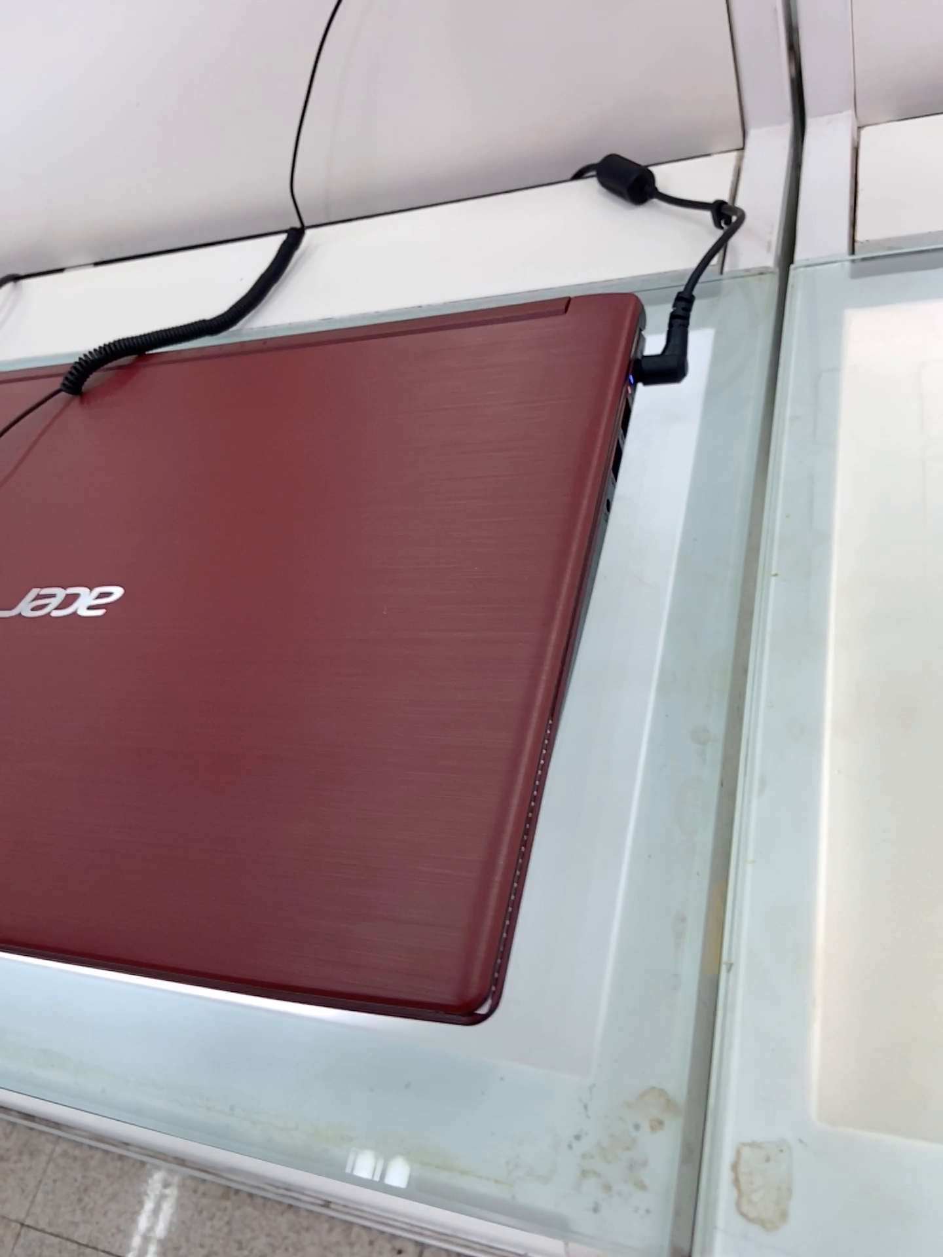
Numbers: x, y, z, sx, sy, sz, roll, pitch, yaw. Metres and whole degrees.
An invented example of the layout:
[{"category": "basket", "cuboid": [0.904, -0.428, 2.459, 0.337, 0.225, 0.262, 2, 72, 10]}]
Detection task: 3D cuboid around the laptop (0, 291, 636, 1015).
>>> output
[{"category": "laptop", "cuboid": [-0.140, -0.020, 0.365, 0.368, 0.006, 0.262, 0, 53, 23]}]
